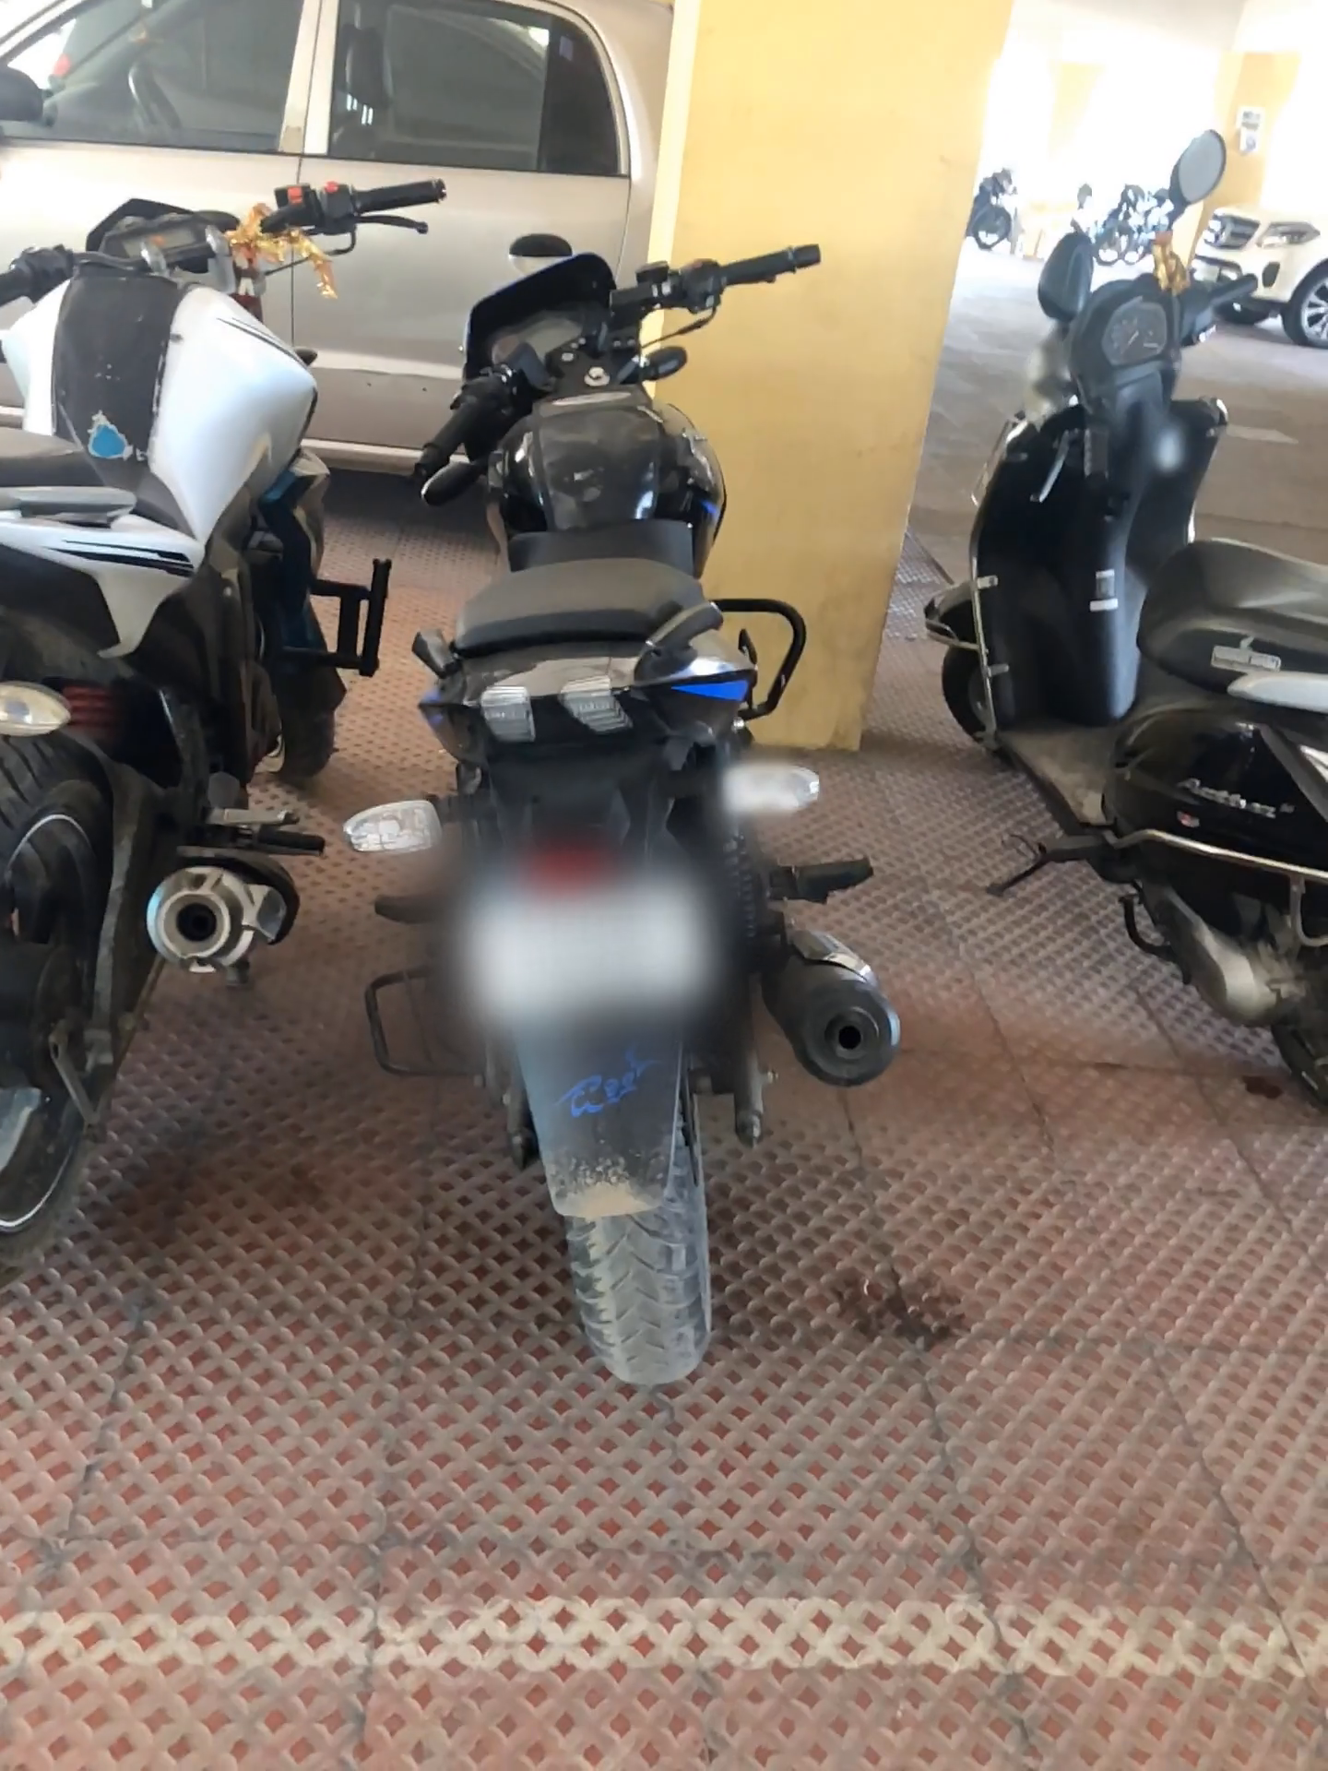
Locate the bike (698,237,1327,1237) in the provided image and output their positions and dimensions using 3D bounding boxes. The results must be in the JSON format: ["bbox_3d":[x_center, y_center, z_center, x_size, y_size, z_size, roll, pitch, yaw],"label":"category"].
[{"bbox_3d":[0.730,-0.422,2.676,0.713,1.222,1.721,-1,28,-17],"label":"bike"}]

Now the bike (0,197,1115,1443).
[{"bbox_3d":[-0.248,-0.331,2.012,0.745,0.988,1.853,3,27,-9],"label":"bike"}]
